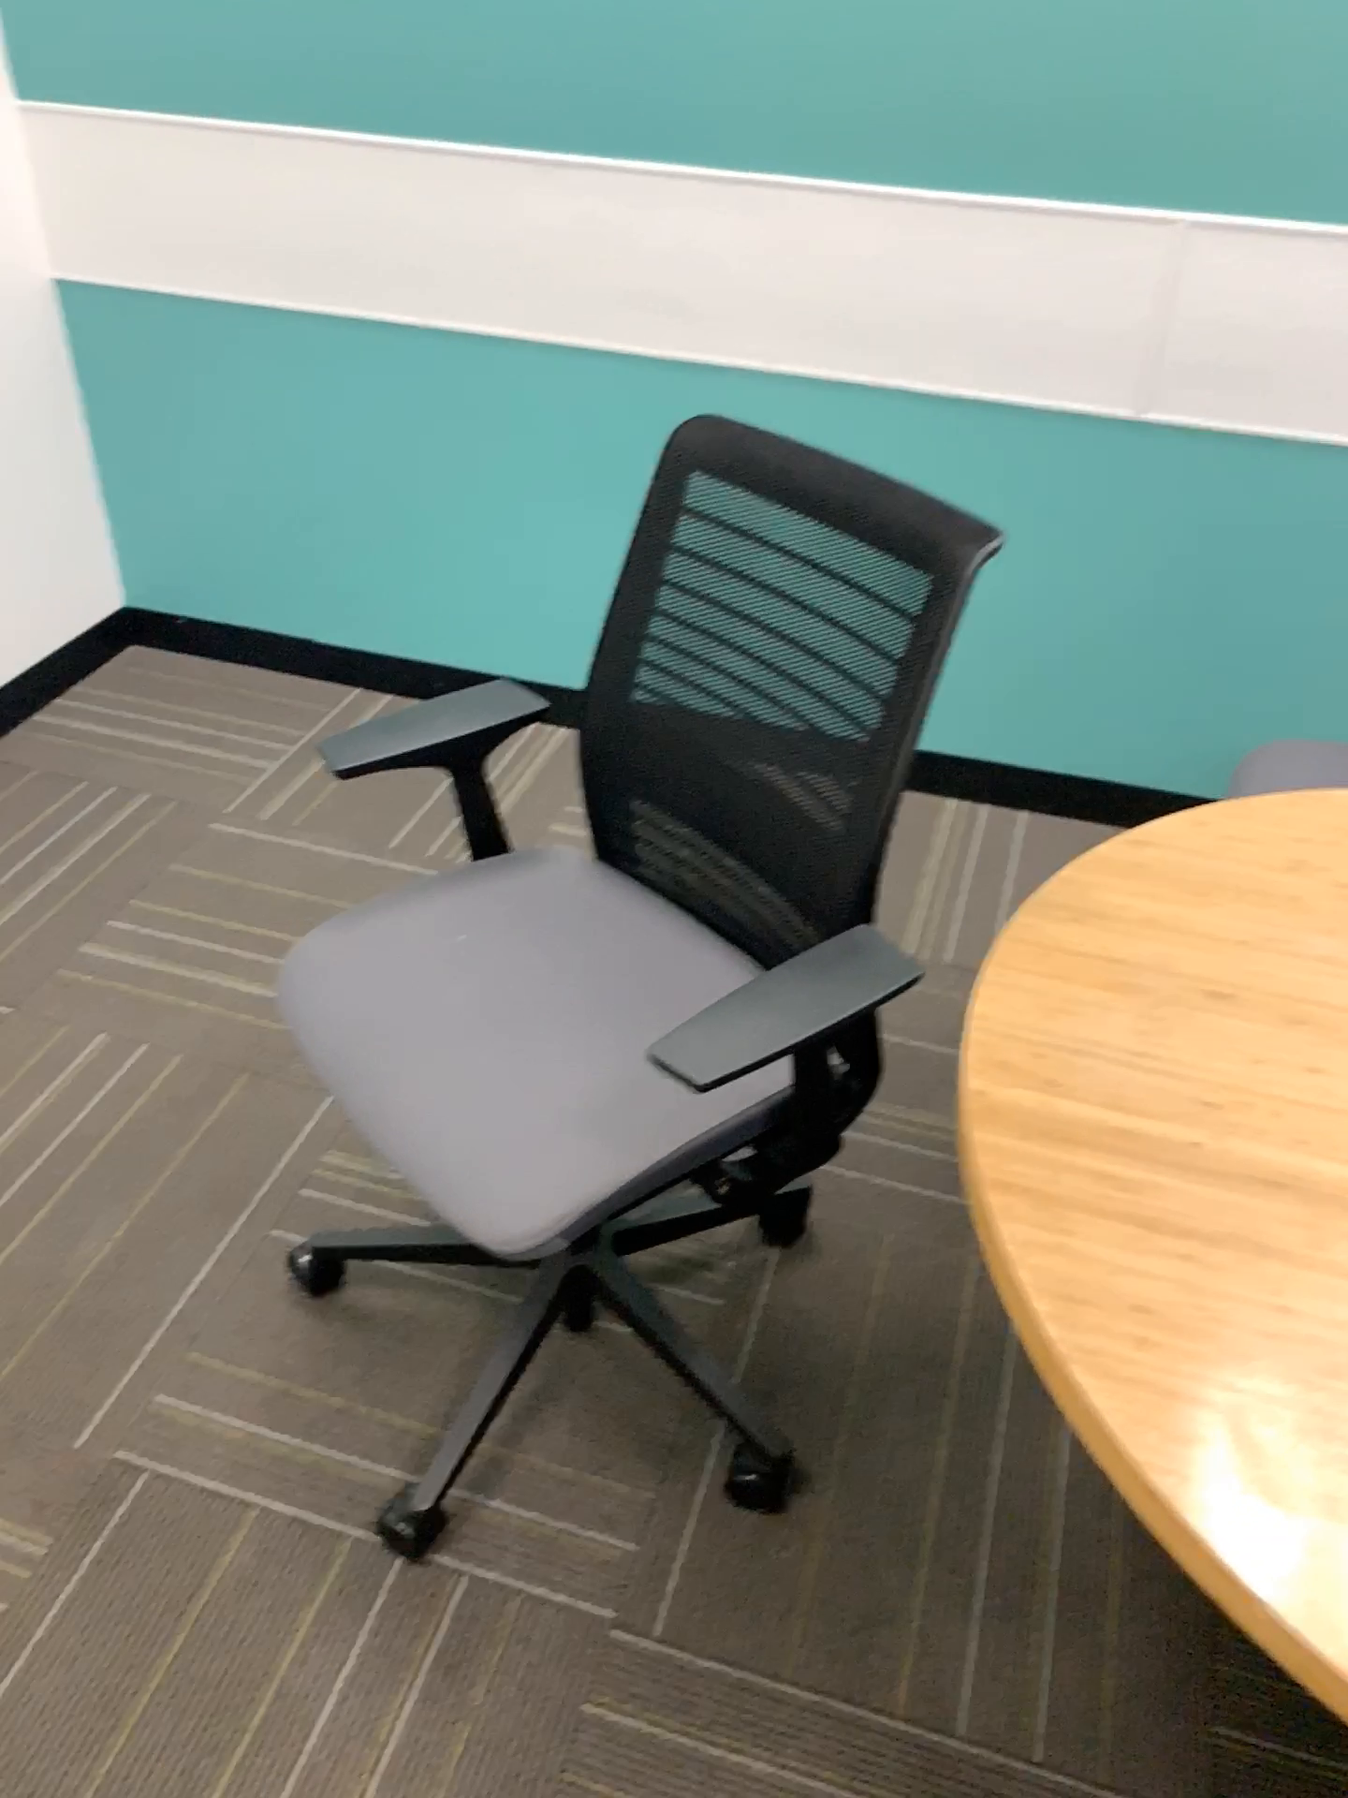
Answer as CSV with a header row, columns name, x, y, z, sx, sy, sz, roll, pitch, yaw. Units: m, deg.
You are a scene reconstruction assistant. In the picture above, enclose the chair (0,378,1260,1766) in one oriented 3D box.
name,x,y,z,sx,sy,sz,roll,pitch,yaw
chair,-0.054,0.105,1.487,0.842,0.984,0.733,-28,46,-35
